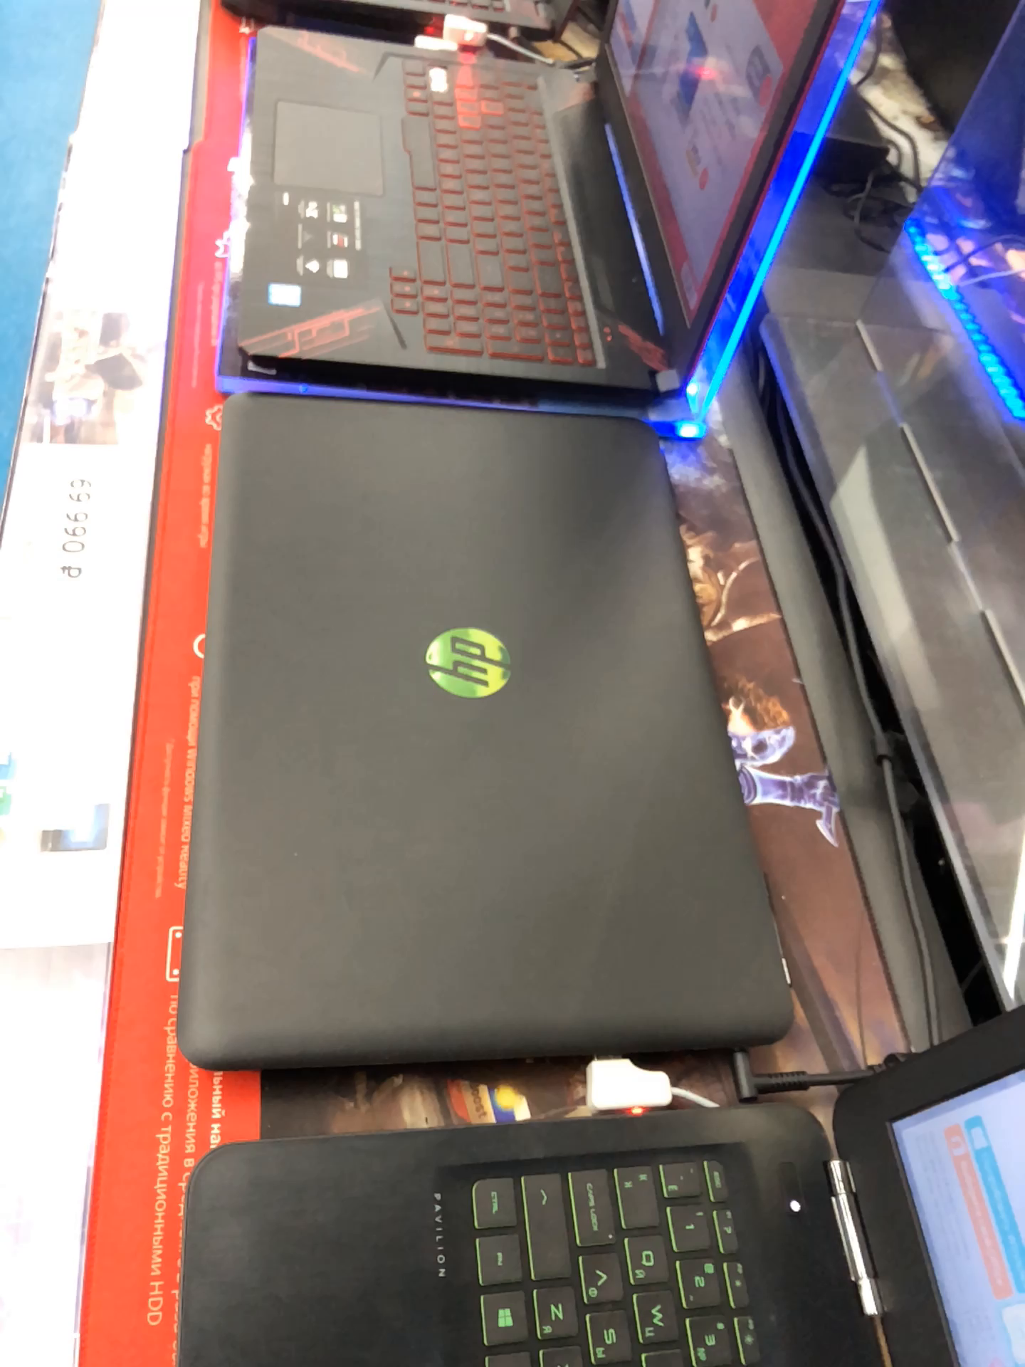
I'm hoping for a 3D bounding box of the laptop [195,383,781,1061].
[{"bbox_3d":[-0.019,-0.010,0.552,0.232,0.012,0.367,1,56,-9],"label":"laptop"}]
